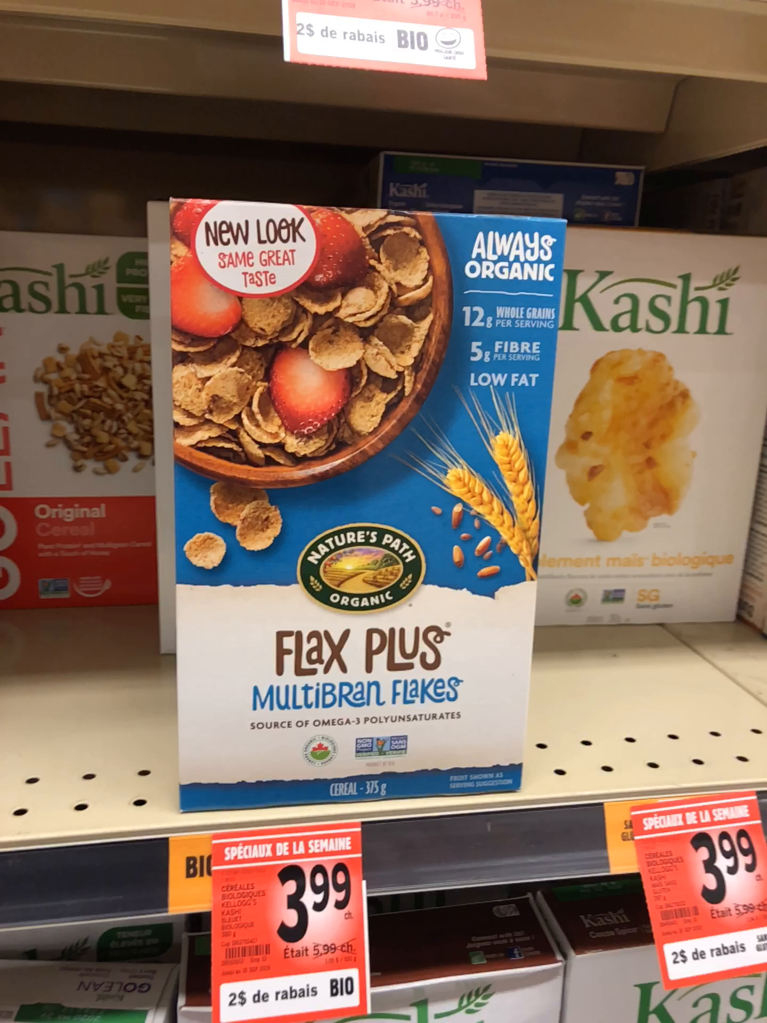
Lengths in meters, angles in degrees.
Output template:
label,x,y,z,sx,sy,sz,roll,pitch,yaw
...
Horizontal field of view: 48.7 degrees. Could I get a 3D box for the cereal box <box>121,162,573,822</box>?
label,x,y,z,sx,sy,sz,roll,pitch,yaw
cereal box,-0.021,-0.004,0.383,0.170,0.269,0.070,0,15,-9
